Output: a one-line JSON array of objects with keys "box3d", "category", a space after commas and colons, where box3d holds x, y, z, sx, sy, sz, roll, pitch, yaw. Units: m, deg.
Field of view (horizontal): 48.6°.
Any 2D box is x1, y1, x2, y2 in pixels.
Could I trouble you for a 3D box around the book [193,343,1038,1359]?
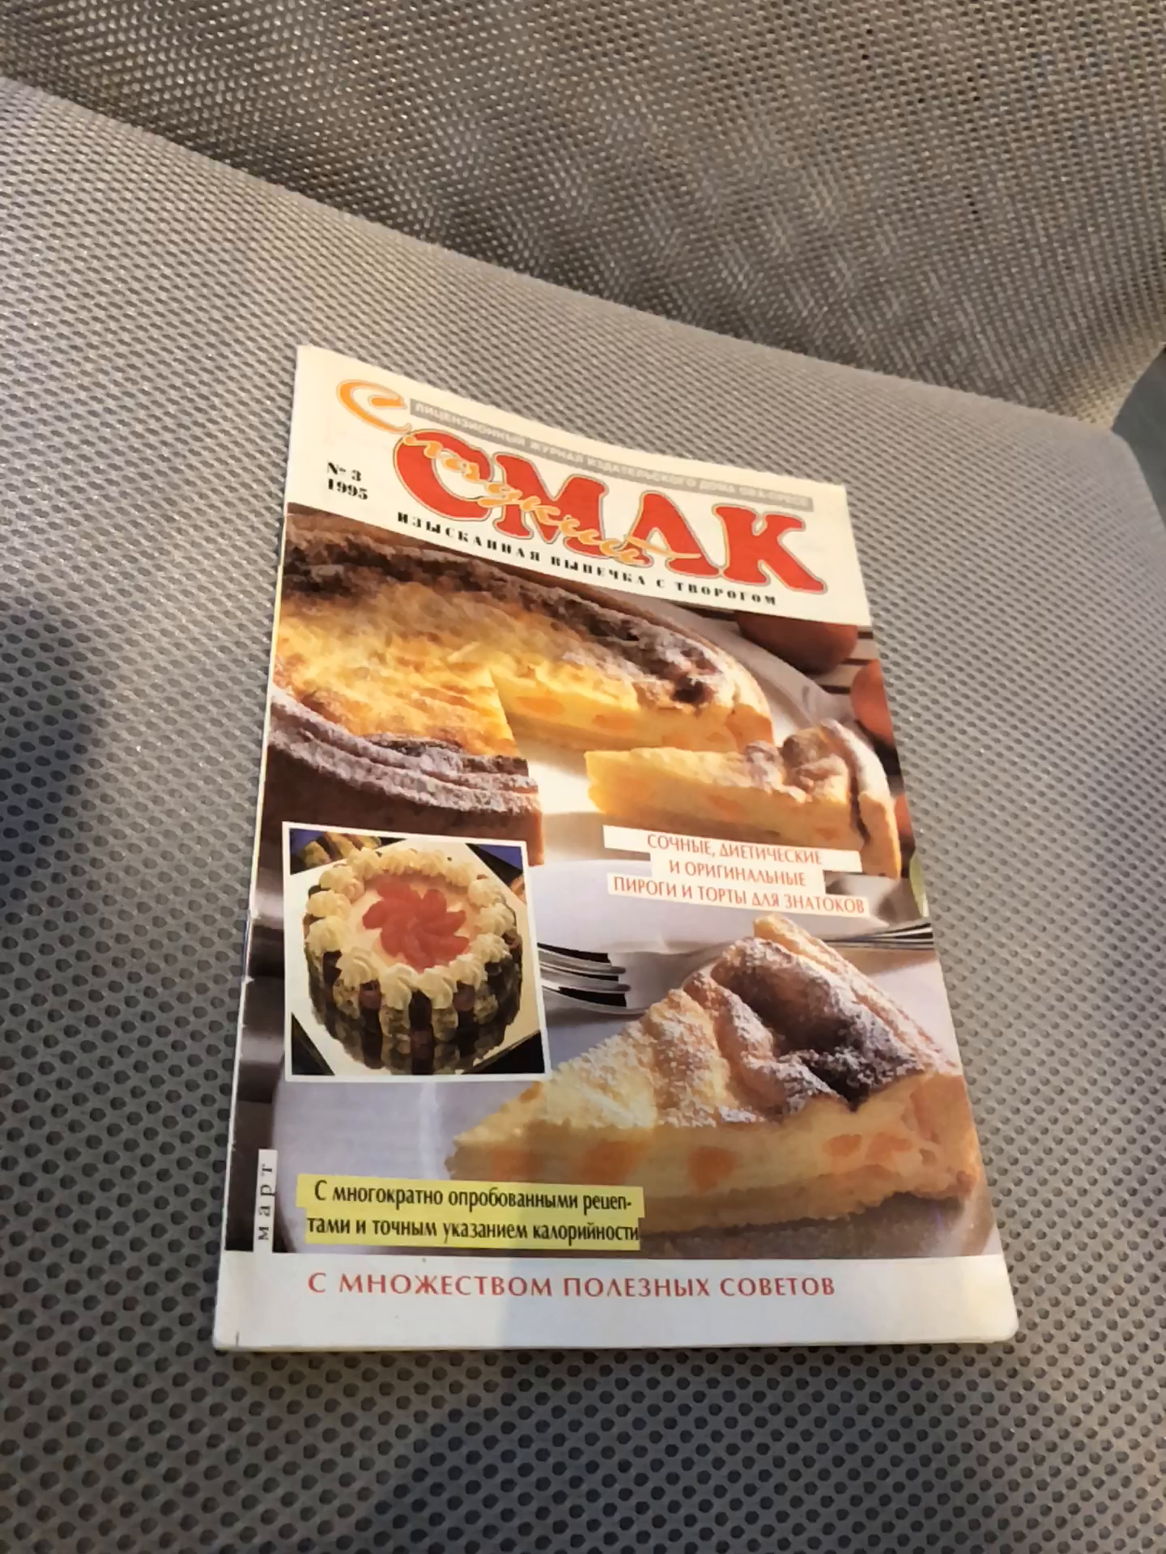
[{"box3d": [0.010, 0.008, 0.304, 0.174, 0.010, 0.232, 8, 61, -20], "category": "book"}]
